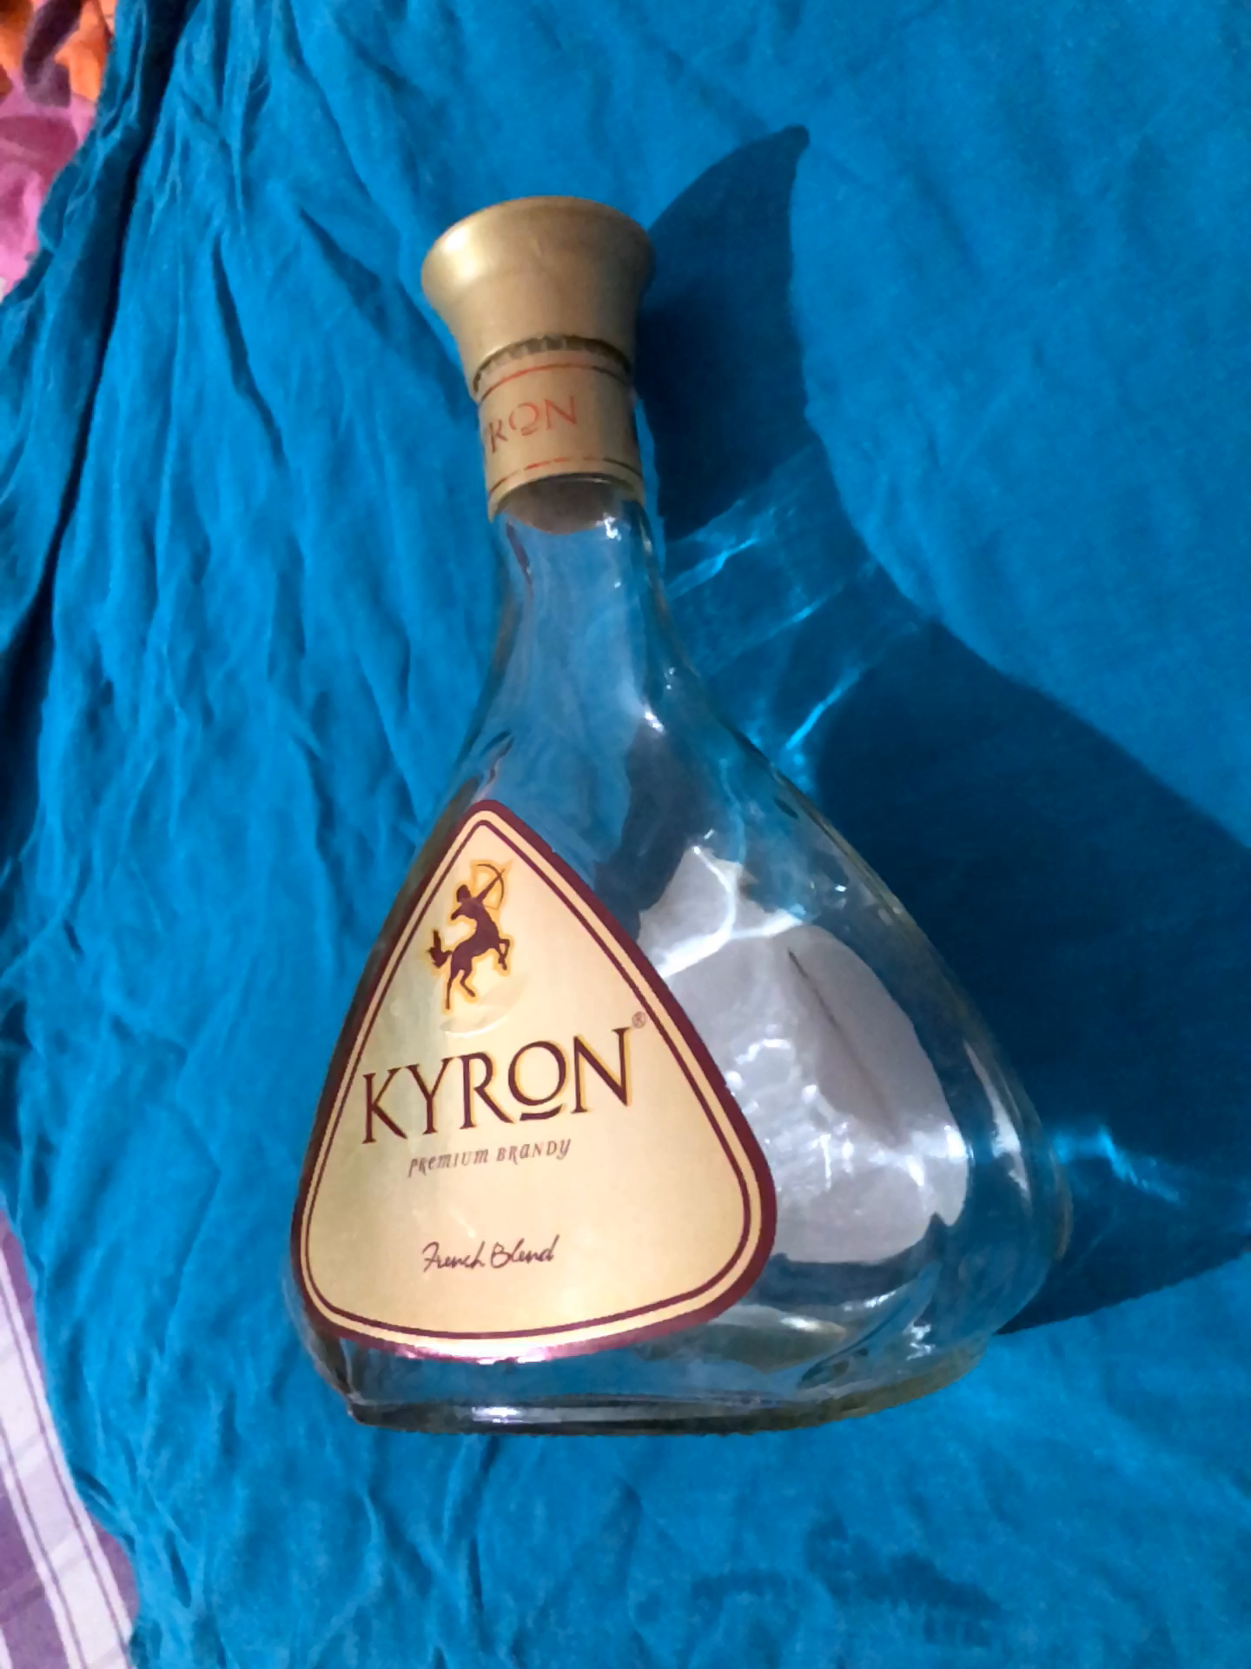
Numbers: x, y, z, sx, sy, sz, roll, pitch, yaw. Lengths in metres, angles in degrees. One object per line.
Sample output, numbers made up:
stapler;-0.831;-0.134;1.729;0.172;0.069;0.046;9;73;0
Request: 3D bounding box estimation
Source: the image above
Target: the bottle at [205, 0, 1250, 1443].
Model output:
bottle;0.010;-0.025;0.265;0.150;0.080;0.240;-17;77;38
